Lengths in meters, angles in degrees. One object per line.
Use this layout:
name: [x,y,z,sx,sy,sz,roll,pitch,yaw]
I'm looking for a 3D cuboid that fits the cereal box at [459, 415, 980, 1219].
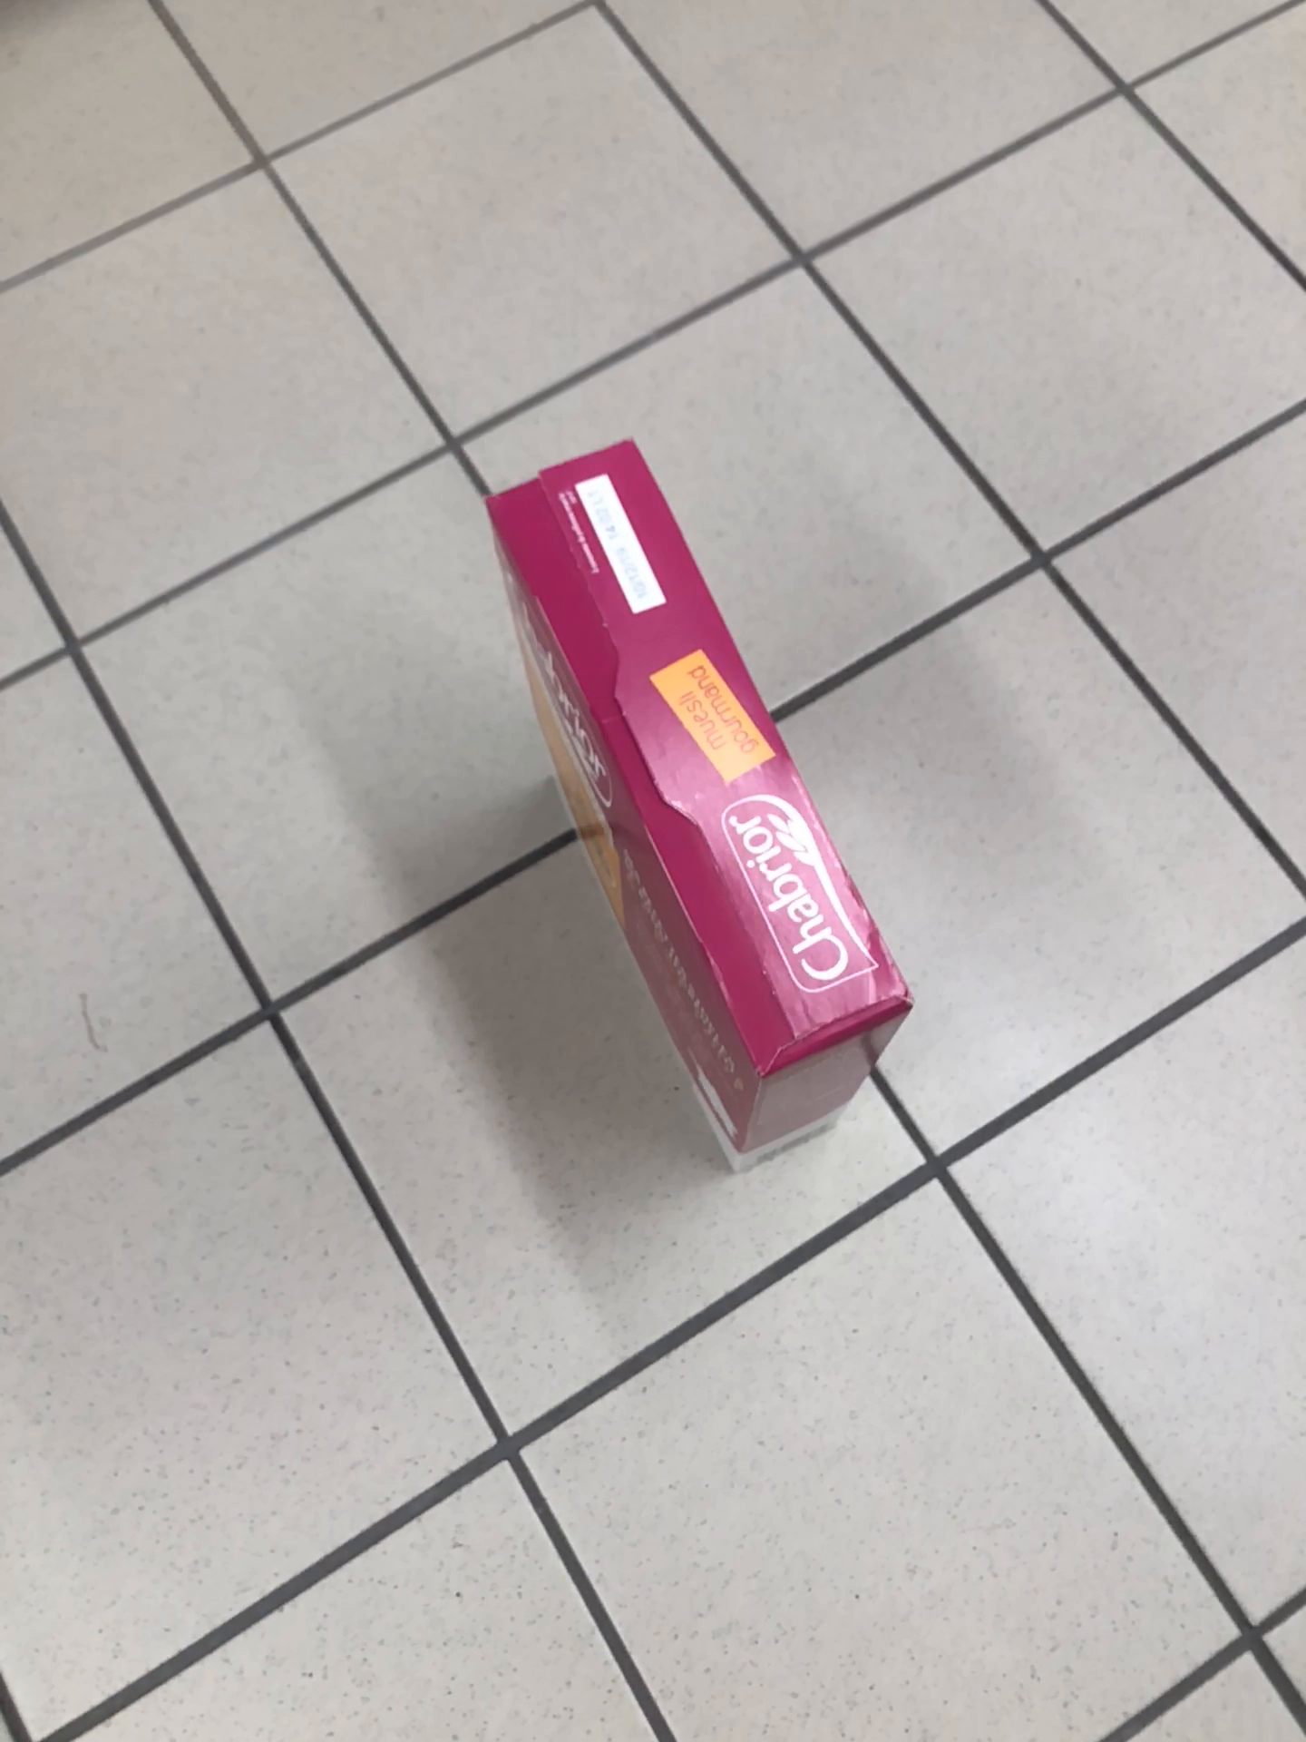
cereal box: [0.015,0.002,0.509,0.060,0.230,0.210,-24,73,-7]
